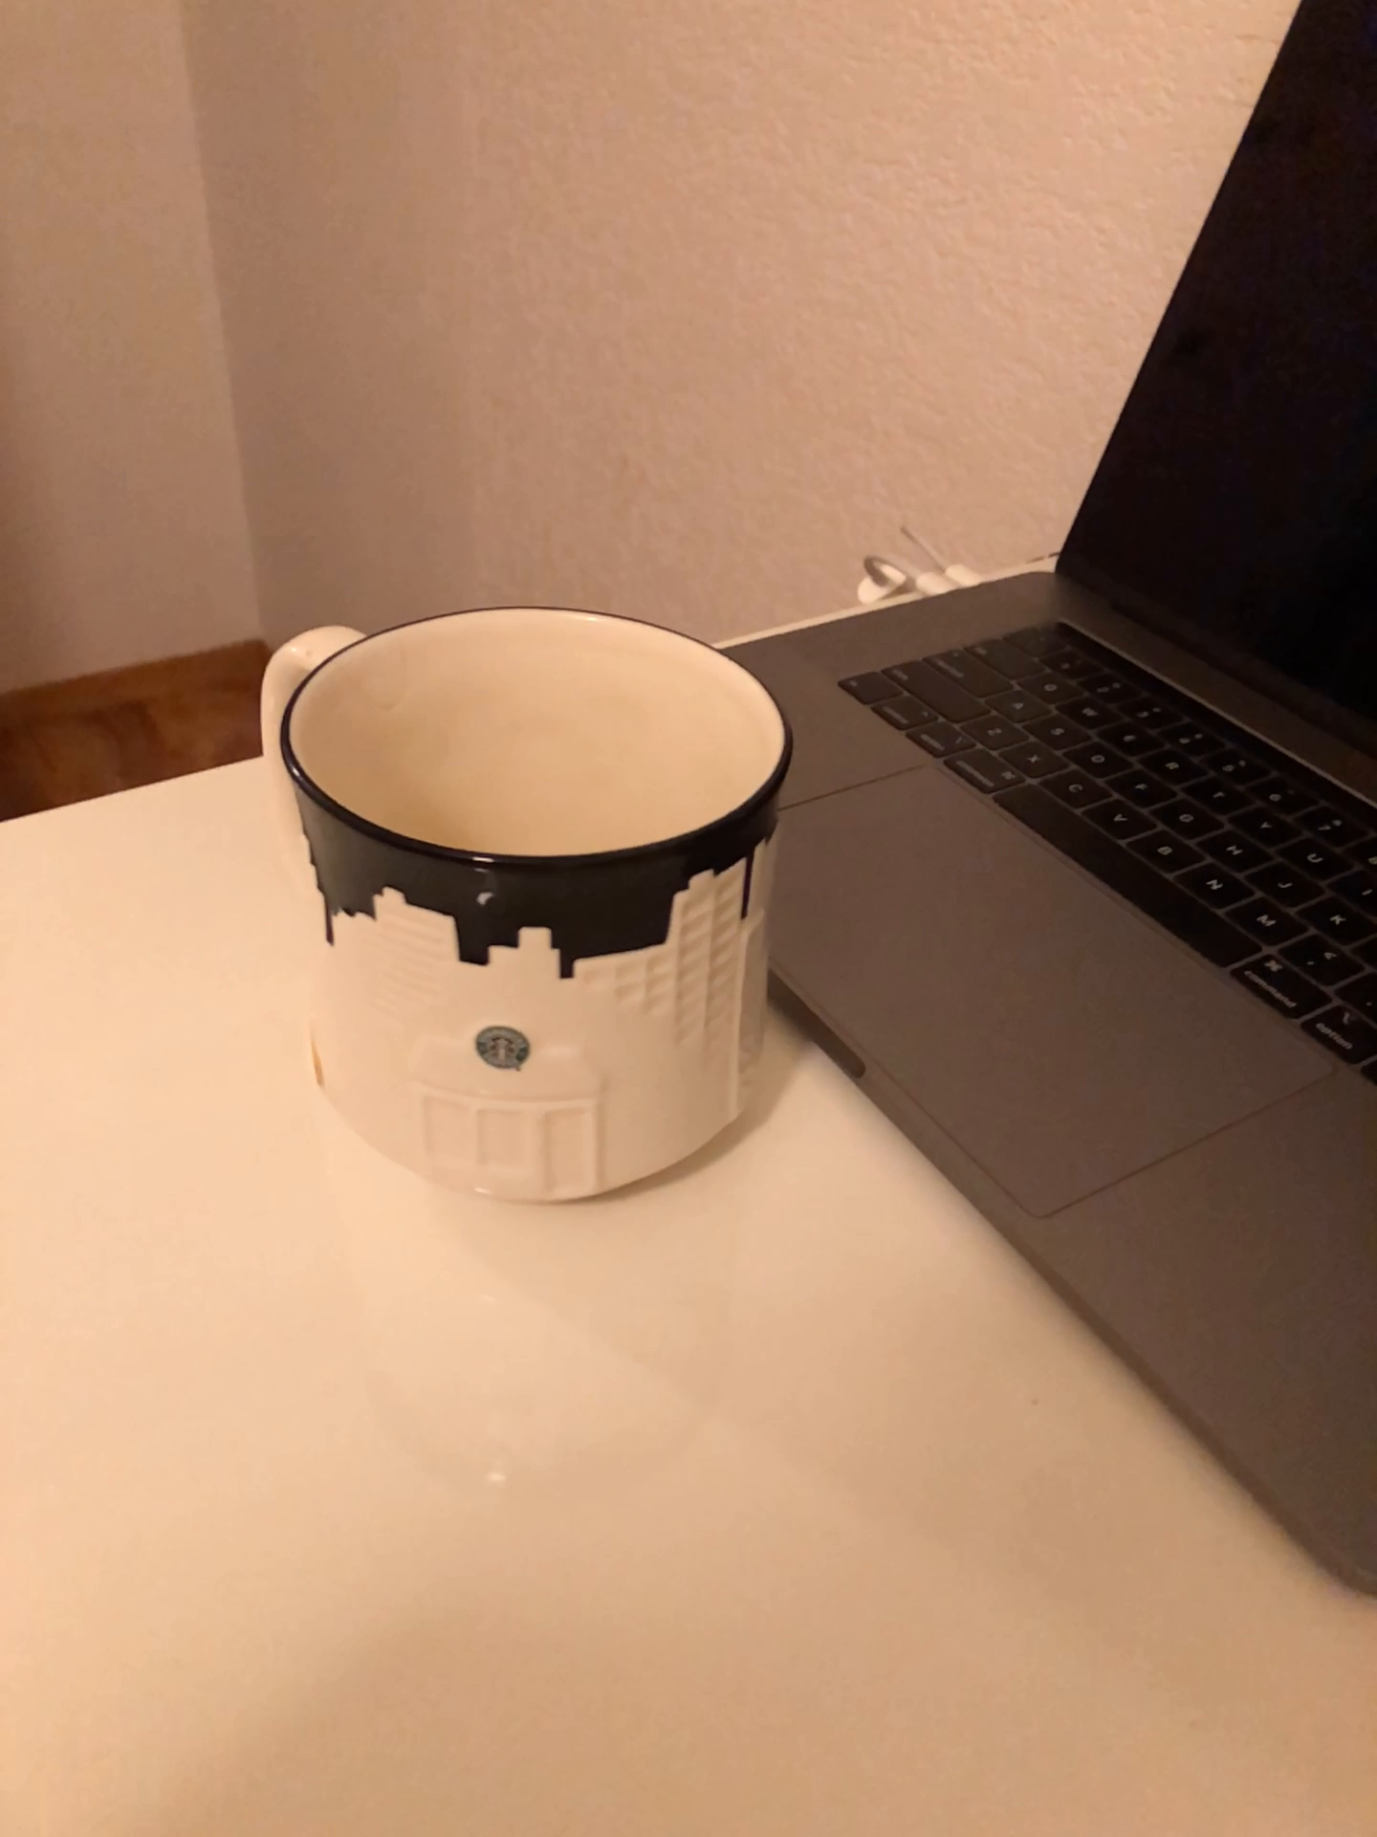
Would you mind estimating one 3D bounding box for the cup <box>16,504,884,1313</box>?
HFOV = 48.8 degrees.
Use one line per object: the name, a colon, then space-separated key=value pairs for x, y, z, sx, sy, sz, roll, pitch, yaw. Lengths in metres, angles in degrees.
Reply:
cup: x=-0.053 y=-0.013 z=0.355 sx=0.150 sy=0.099 sz=0.110 roll=27 pitch=43 yaw=28
